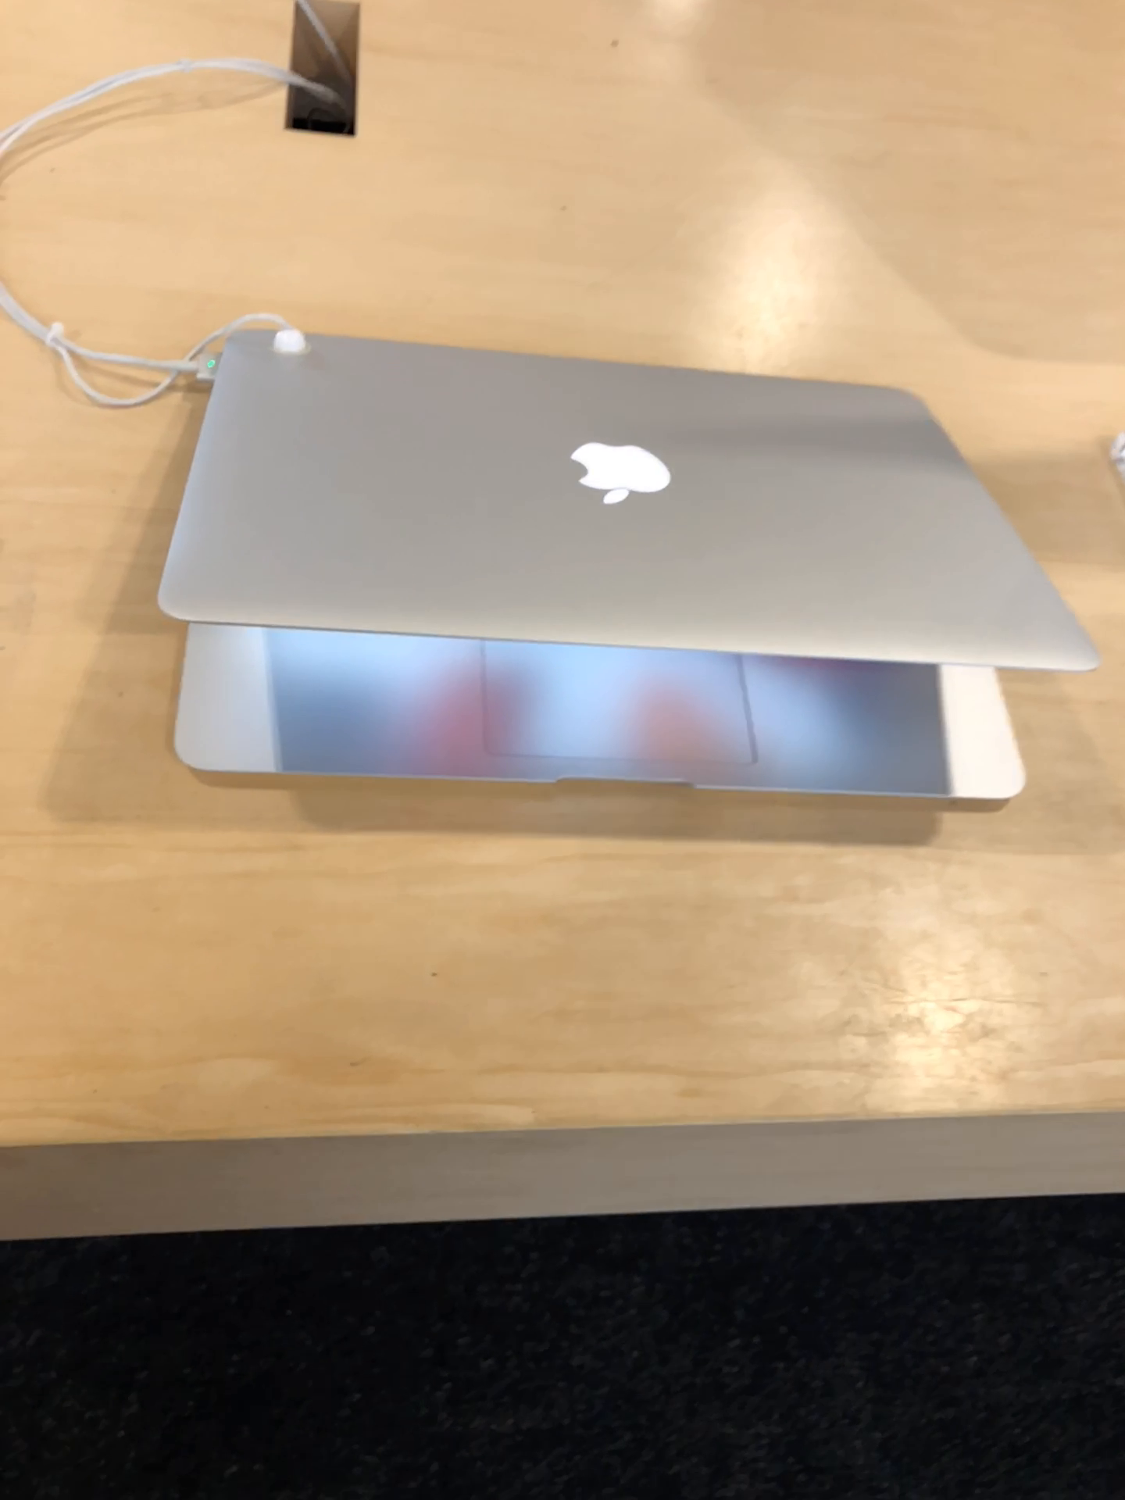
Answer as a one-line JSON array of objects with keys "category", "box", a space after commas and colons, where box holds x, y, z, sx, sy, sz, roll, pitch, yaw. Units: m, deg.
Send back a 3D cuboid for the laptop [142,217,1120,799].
[{"category": "laptop", "box": [0.019, -0.096, 0.482, 0.315, 0.067, 0.216, 2, 56, -8]}]
